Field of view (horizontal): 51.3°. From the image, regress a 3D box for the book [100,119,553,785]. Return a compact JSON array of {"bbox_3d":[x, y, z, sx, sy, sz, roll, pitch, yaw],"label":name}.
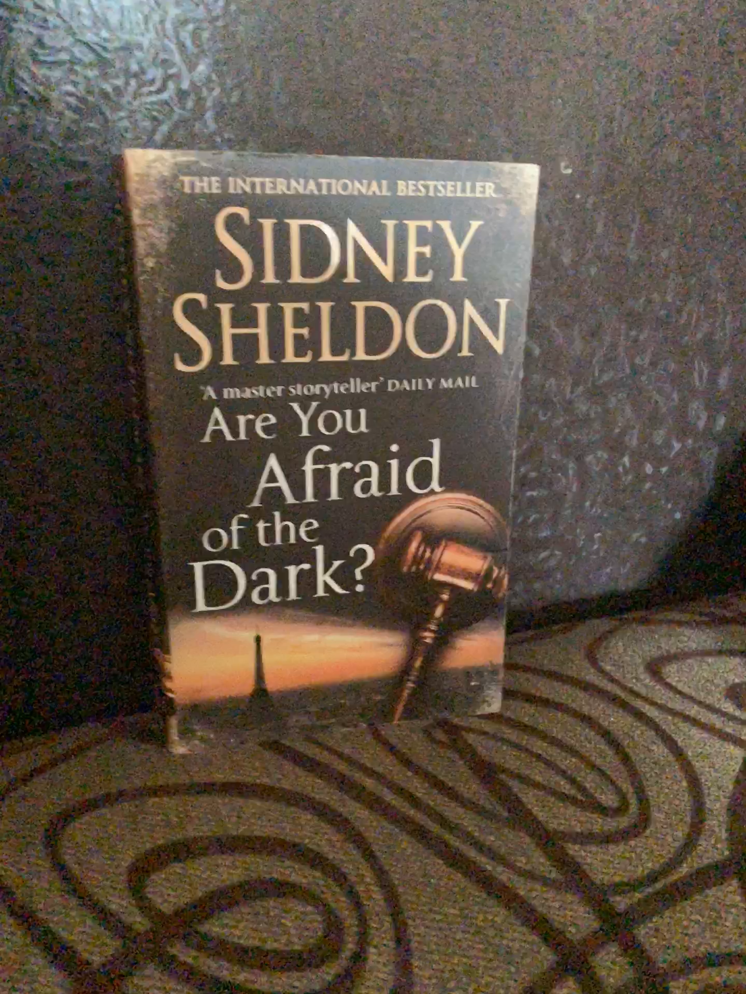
[{"bbox_3d":[-0.018,-0.010,0.242,0.120,0.179,0.040,-2,17,-19],"label":"book"}]
